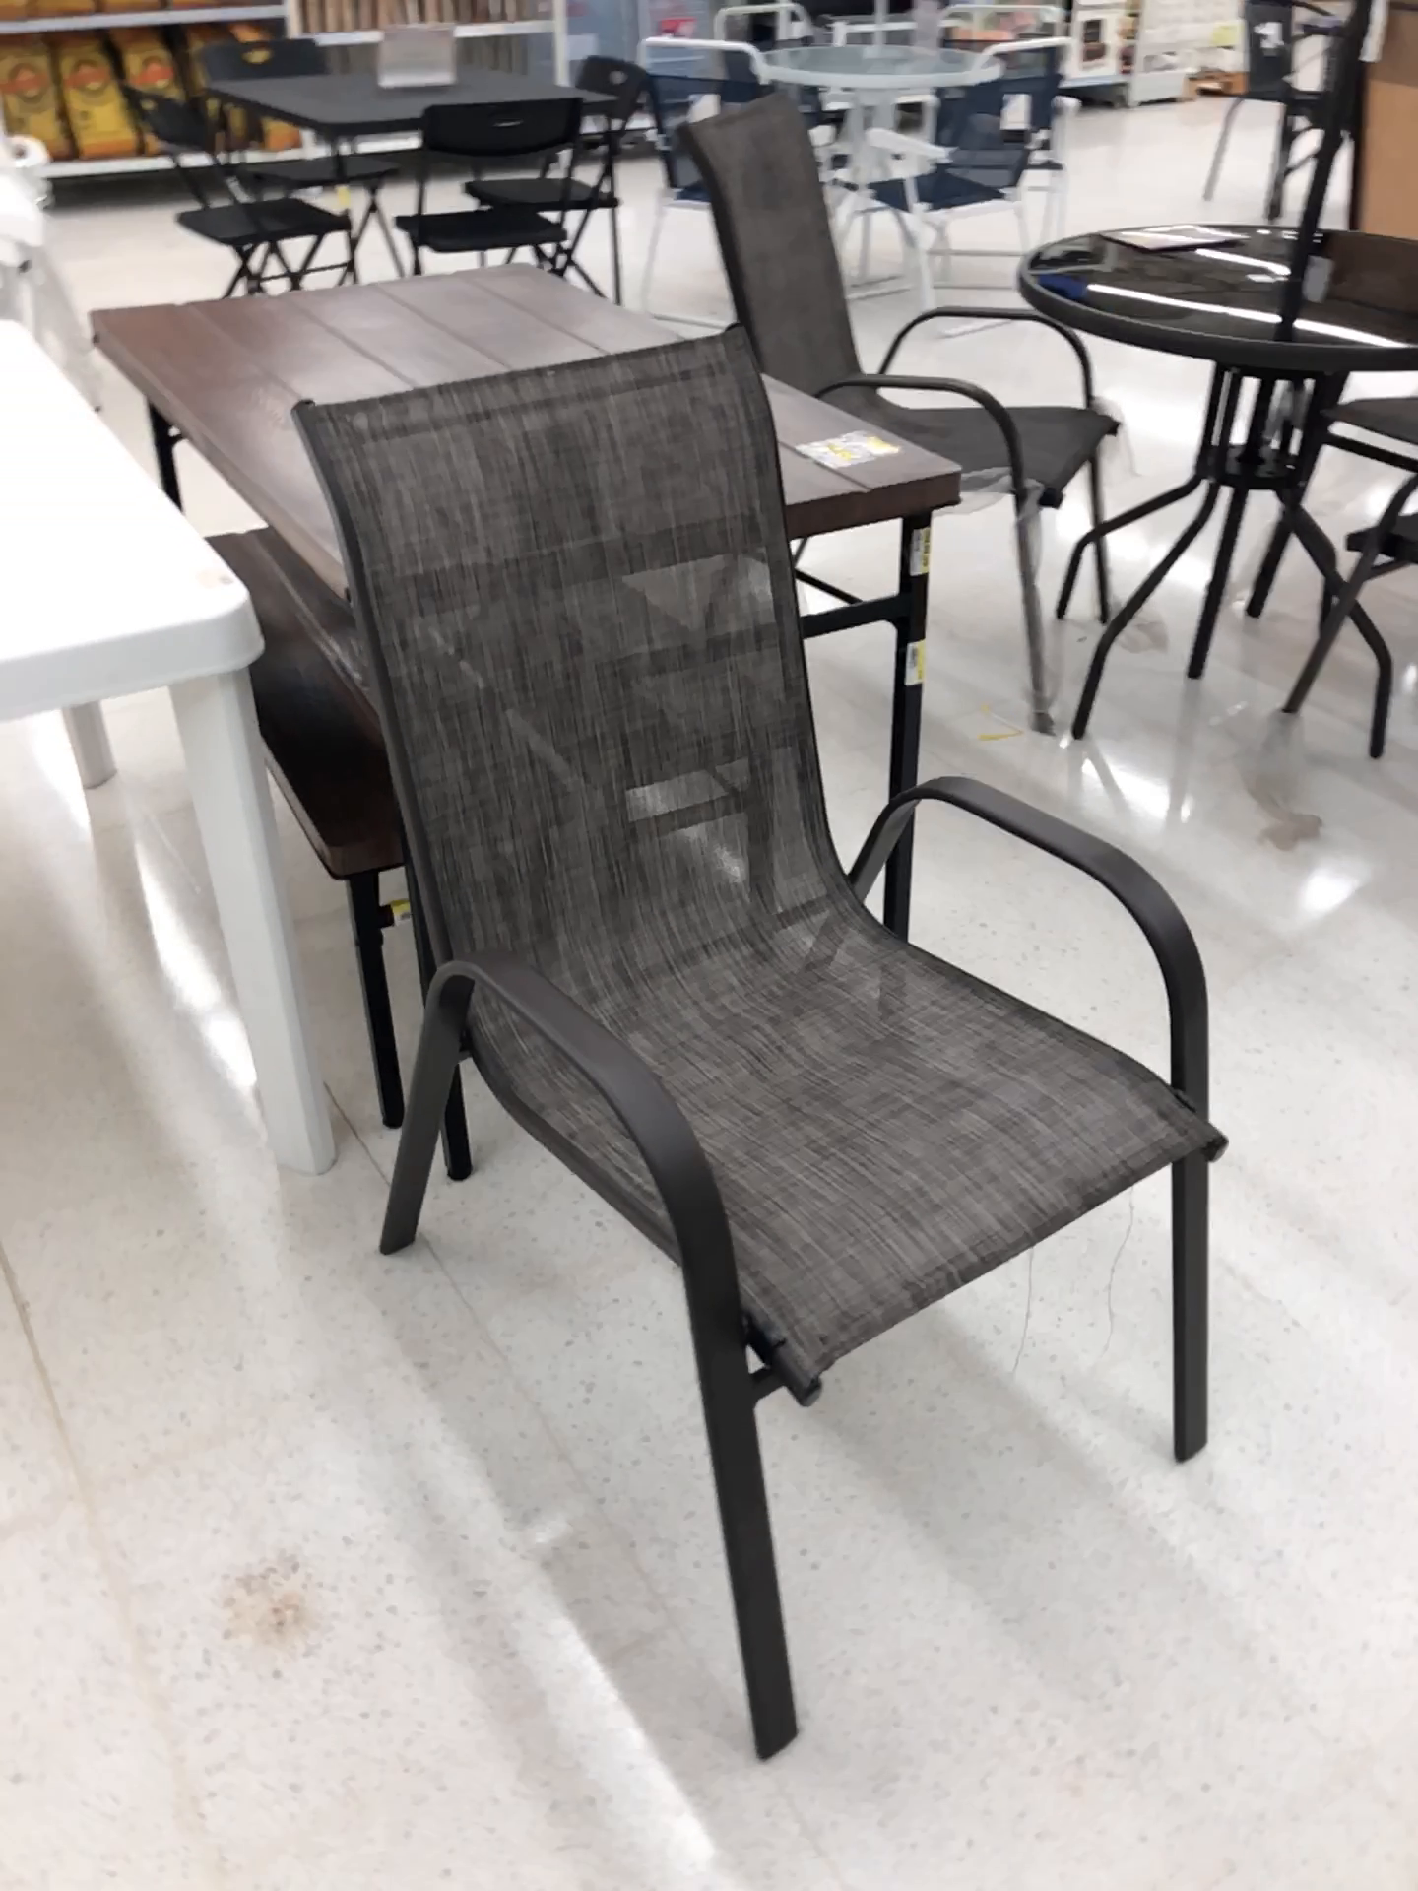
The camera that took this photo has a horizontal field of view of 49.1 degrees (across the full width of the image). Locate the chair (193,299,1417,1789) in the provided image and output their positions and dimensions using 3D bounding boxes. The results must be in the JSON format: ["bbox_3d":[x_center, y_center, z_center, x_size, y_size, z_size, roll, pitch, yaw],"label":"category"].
[{"bbox_3d":[0.062,0.015,1.306,0.601,0.854,0.714,-22,40,-28],"label":"chair"}]
